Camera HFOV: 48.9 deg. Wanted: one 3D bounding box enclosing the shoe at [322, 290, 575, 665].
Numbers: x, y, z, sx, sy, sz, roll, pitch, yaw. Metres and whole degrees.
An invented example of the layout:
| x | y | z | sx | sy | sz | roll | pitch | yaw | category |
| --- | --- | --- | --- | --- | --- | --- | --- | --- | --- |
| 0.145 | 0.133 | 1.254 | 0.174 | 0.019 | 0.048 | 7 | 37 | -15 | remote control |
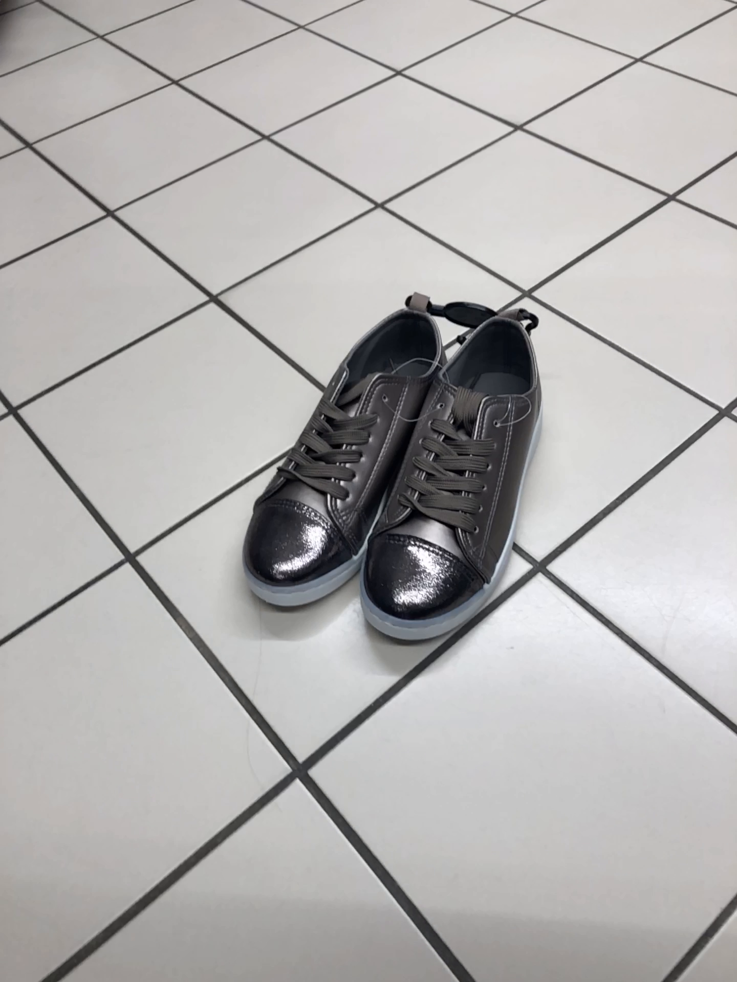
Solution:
| x | y | z | sx | sy | sz | roll | pitch | yaw | category |
| --- | --- | --- | --- | --- | --- | --- | --- | --- | --- |
| 0.062 | -0.020 | 0.537 | 0.090 | 0.080 | 0.241 | 14 | 54 | 16 | shoe |

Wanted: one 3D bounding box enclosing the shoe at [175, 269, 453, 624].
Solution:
| x | y | z | sx | sy | sz | roll | pitch | yaw | category |
| --- | --- | --- | --- | --- | --- | --- | --- | --- | --- |
| -0.023 | -0.042 | 0.561 | 0.090 | 0.080 | 0.241 | 15 | 55 | 17 | shoe |
